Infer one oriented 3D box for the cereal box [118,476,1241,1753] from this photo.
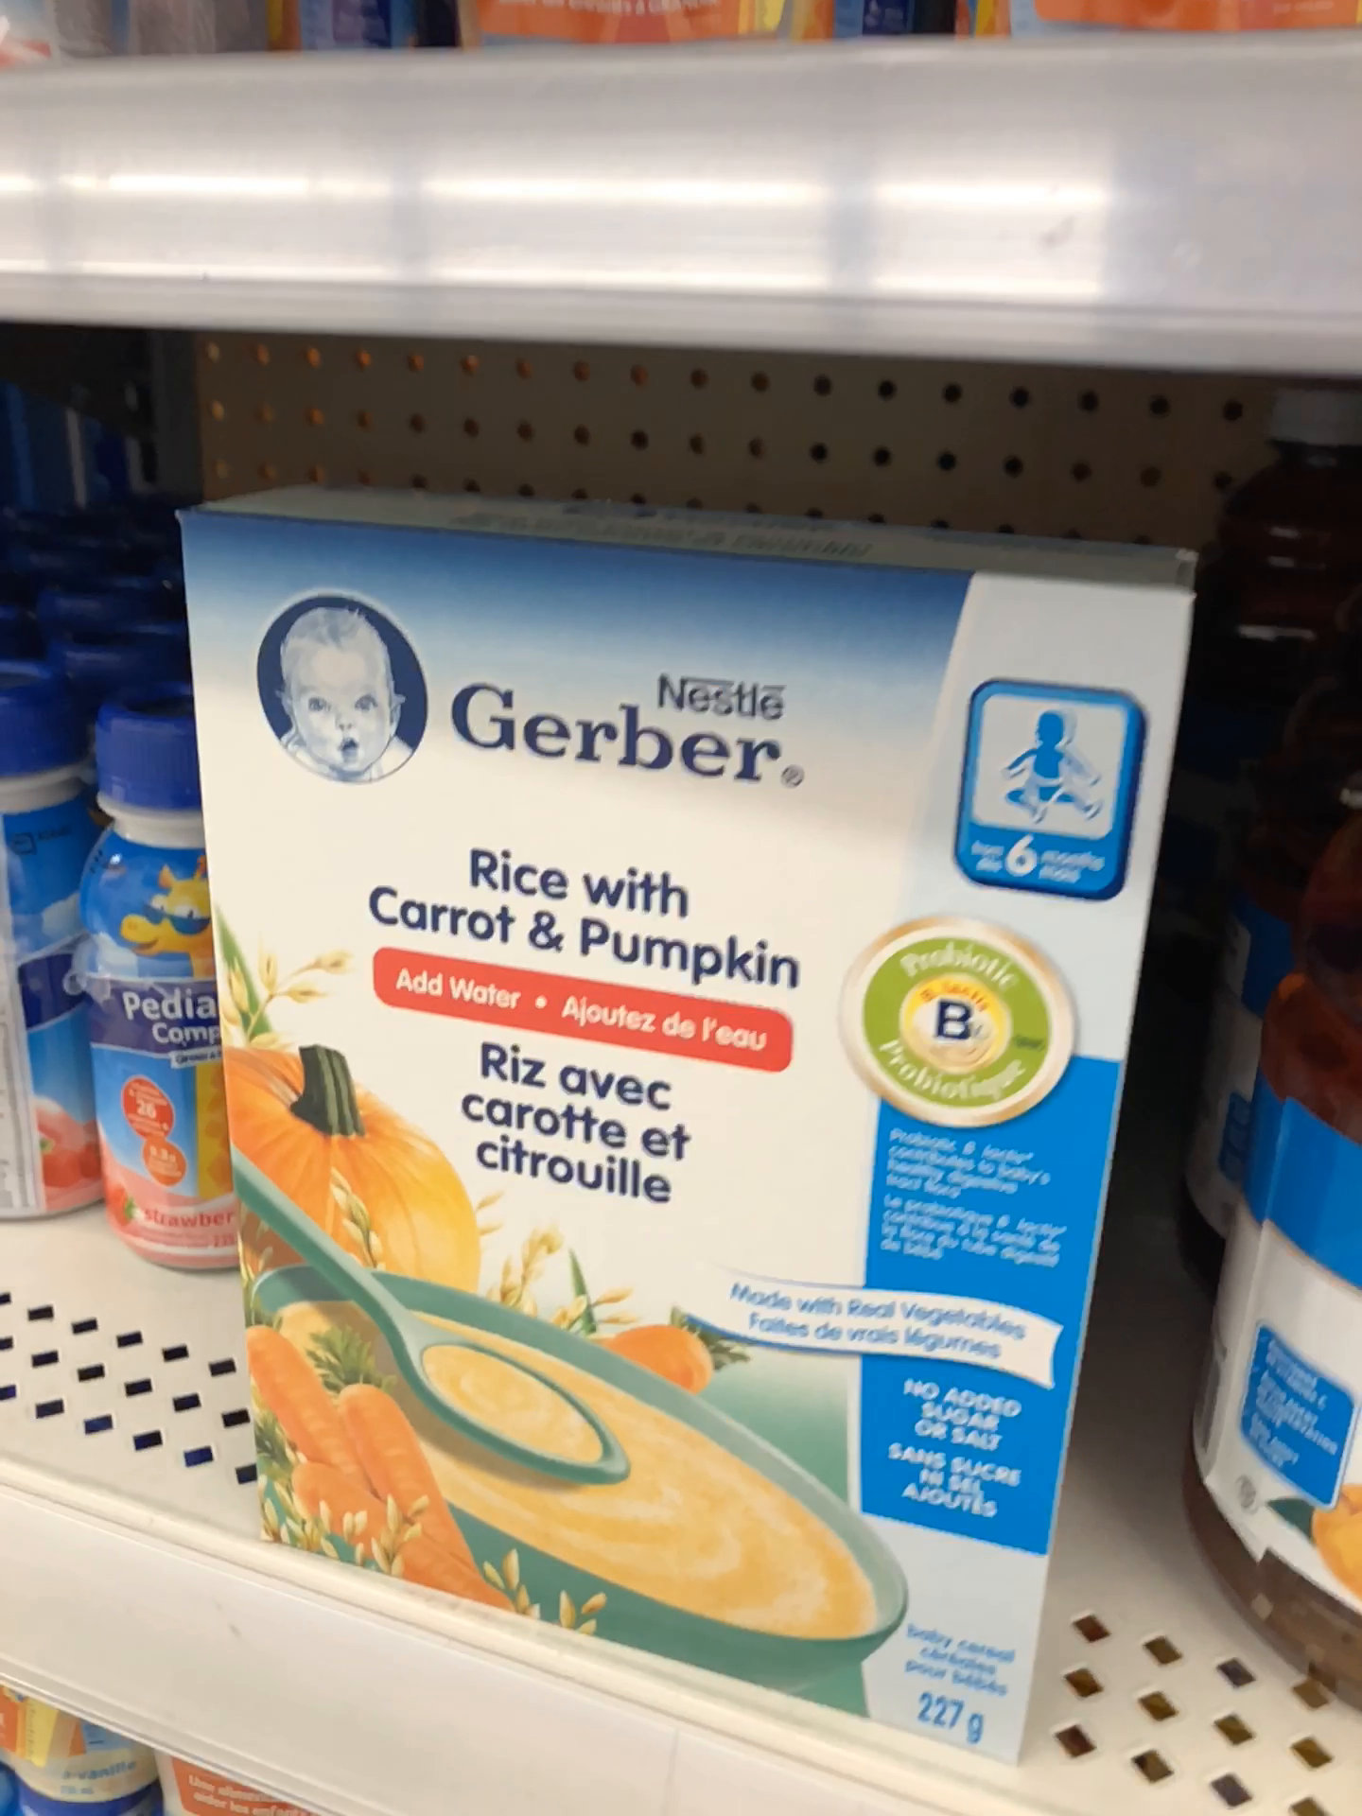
[{"bbox_3d":[-0.004,0.030,0.248,0.150,0.179,0.050,9,22,15],"label":"cereal box"}]
